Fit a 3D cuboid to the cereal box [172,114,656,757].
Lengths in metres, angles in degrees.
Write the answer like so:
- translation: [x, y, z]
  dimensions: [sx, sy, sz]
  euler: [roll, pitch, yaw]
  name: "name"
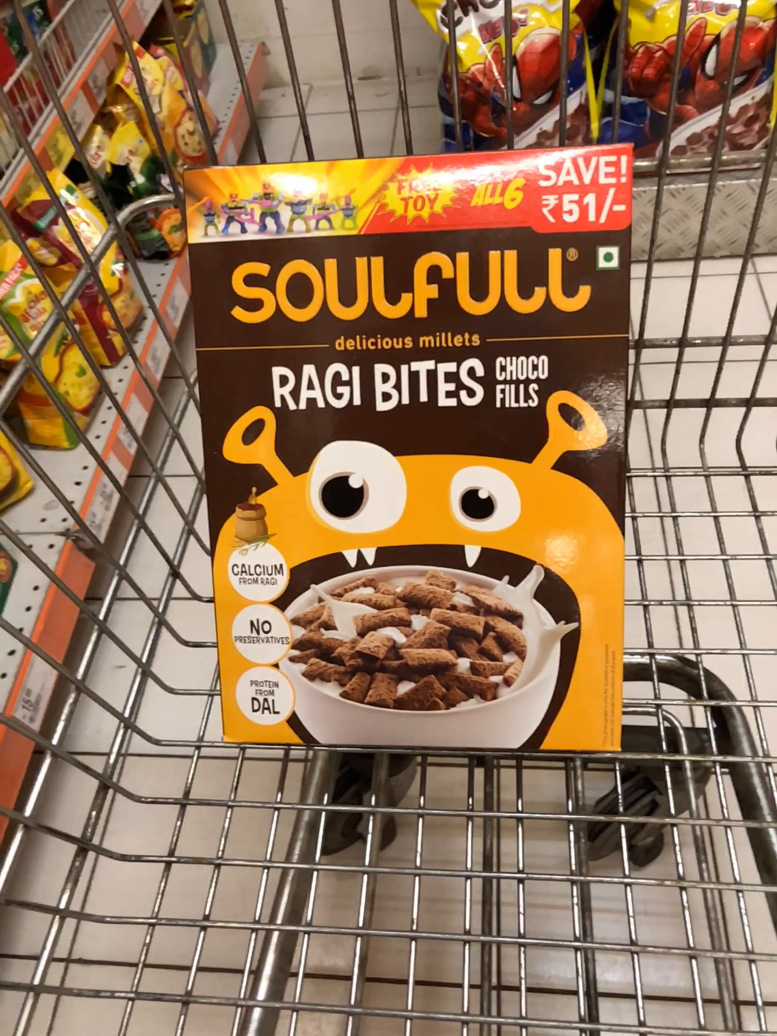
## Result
- translation: [0.015, -0.031, 0.393]
  dimensions: [0.190, 0.259, 0.070]
  euler: [0, 11, 8]
  name: "cereal box"
